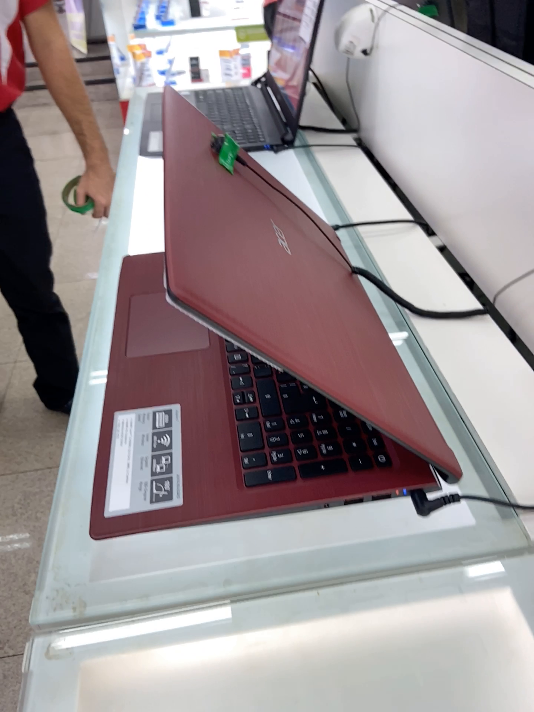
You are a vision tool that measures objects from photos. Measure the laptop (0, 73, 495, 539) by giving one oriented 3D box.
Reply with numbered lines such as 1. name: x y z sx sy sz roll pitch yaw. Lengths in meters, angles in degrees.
1. laptop: -0.029 -0.081 0.454 0.238 0.179 0.369 -8 40 -5

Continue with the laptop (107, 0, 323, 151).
1. laptop: -0.088 -0.551 0.967 0.304 0.230 0.330 -7 41 -4
